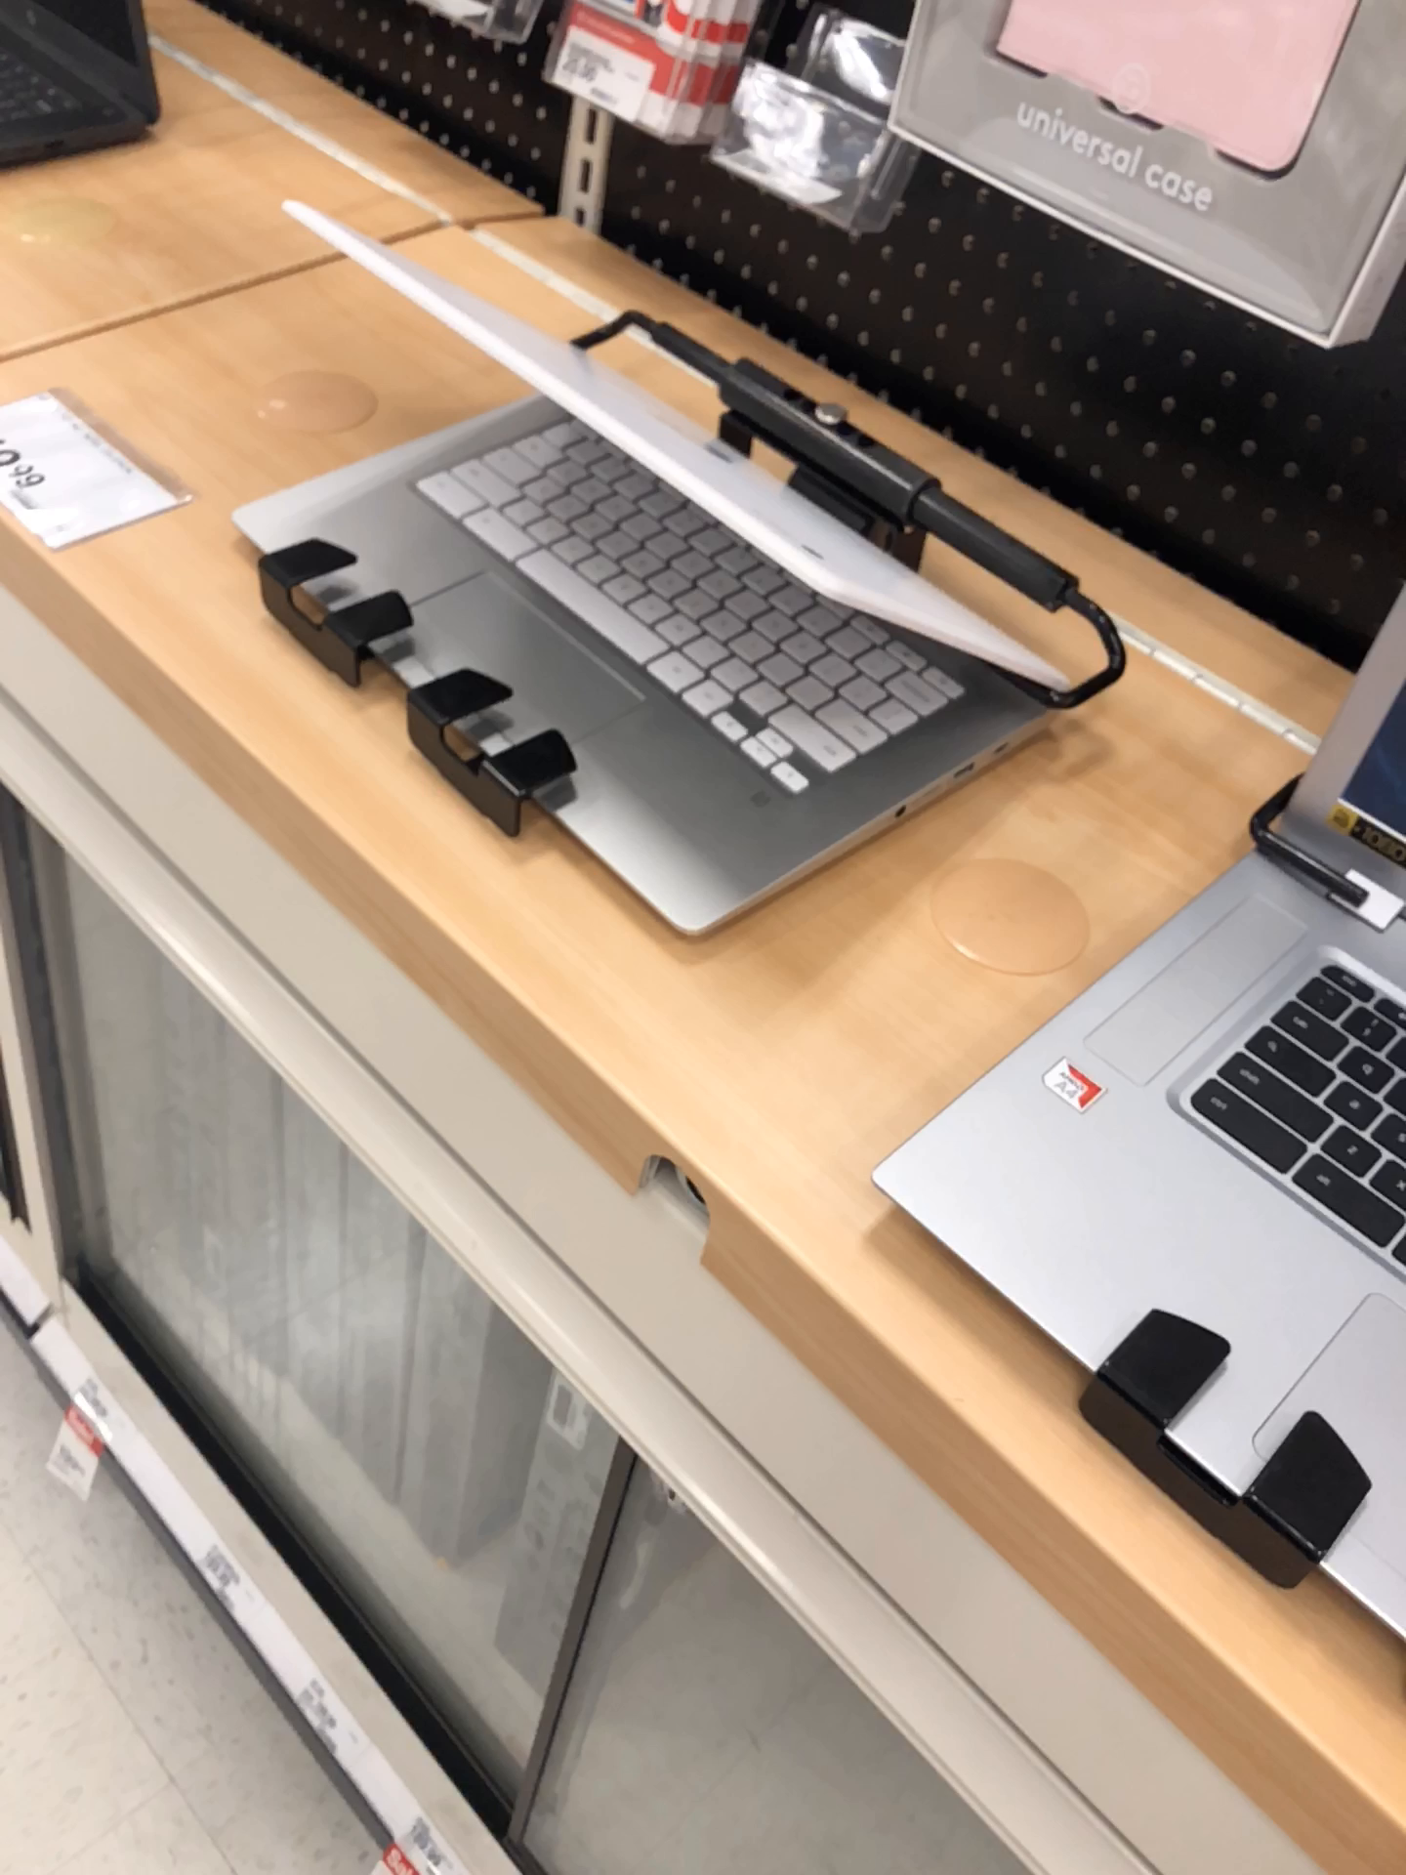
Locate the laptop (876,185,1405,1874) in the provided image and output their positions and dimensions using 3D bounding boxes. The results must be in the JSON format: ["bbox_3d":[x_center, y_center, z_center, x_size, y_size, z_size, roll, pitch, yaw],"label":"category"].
[{"bbox_3d":[0.306,0.035,0.404,0.389,0.244,0.273,39,51,25],"label":"laptop"}]

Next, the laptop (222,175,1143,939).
[{"bbox_3d":[-0.026,-0.187,0.669,0.215,0.100,0.331,-31,58,-29],"label":"laptop"}]
